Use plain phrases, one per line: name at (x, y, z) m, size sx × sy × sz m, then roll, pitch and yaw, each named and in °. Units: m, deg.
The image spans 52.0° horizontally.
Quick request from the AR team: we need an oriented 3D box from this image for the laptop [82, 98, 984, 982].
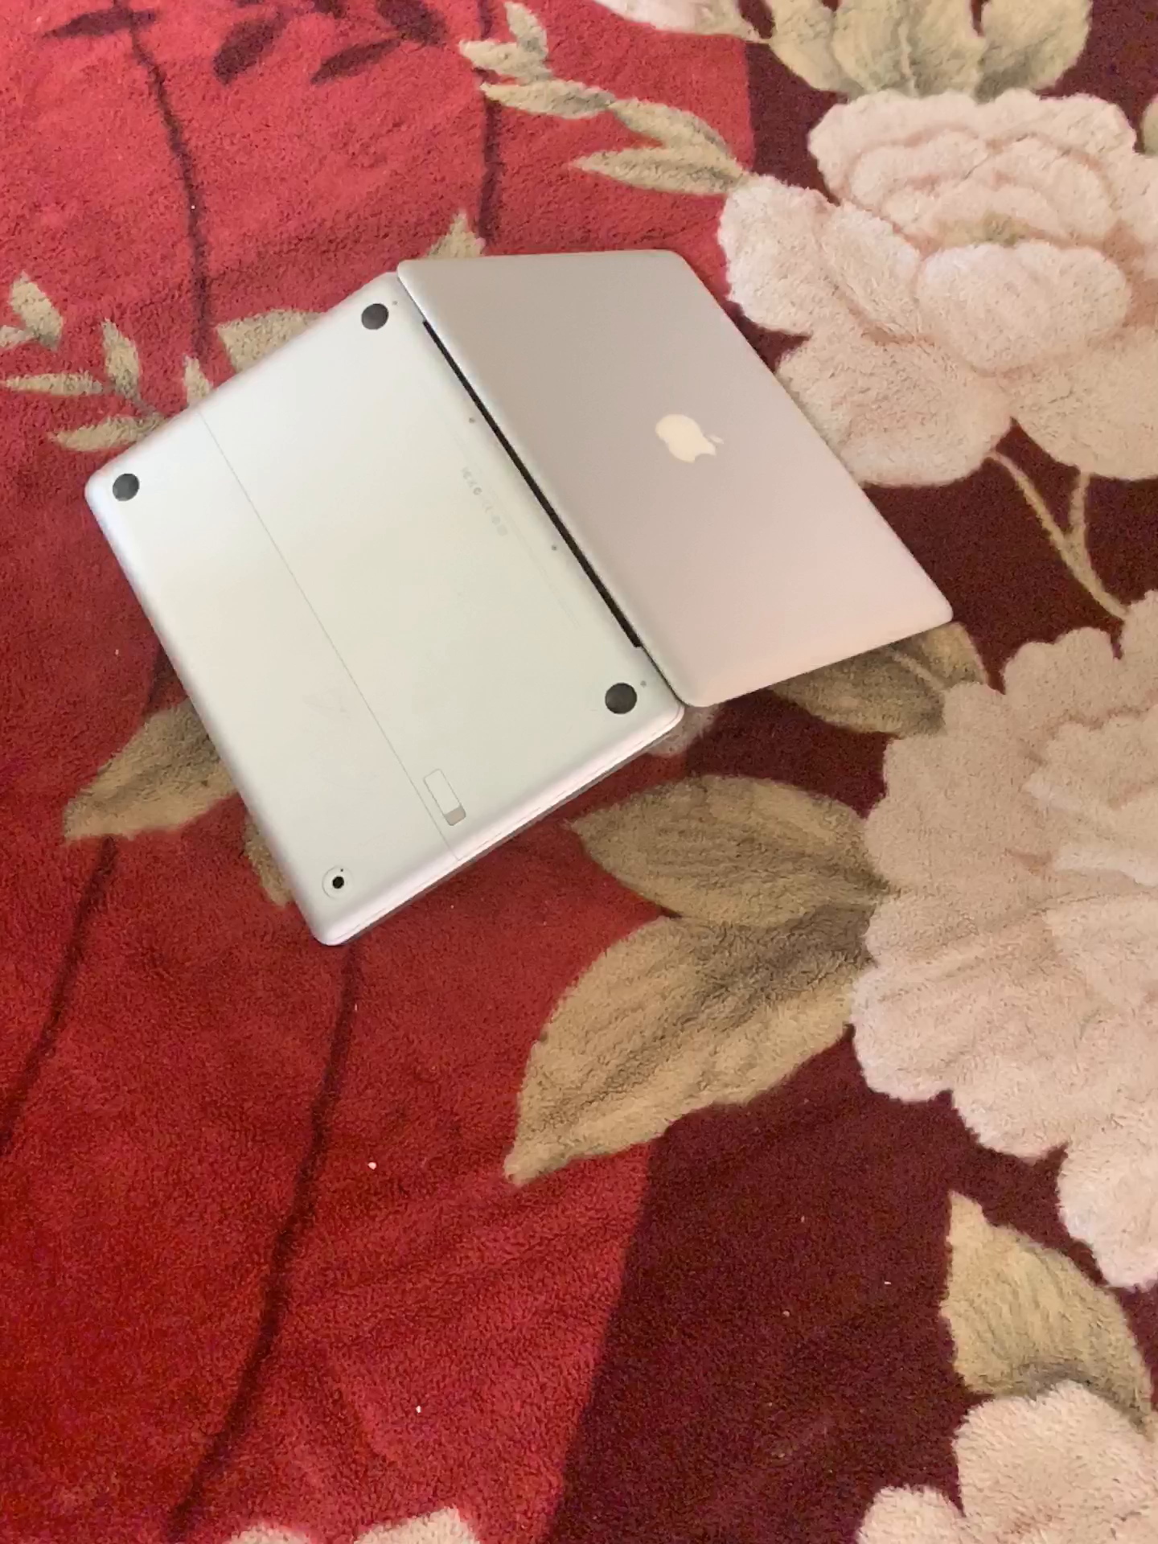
laptop at (-0.048, -0.129, 0.672) m, size 0.390 × 0.078 × 0.316 m, roll -32°, pitch 74°, yaw 3°
